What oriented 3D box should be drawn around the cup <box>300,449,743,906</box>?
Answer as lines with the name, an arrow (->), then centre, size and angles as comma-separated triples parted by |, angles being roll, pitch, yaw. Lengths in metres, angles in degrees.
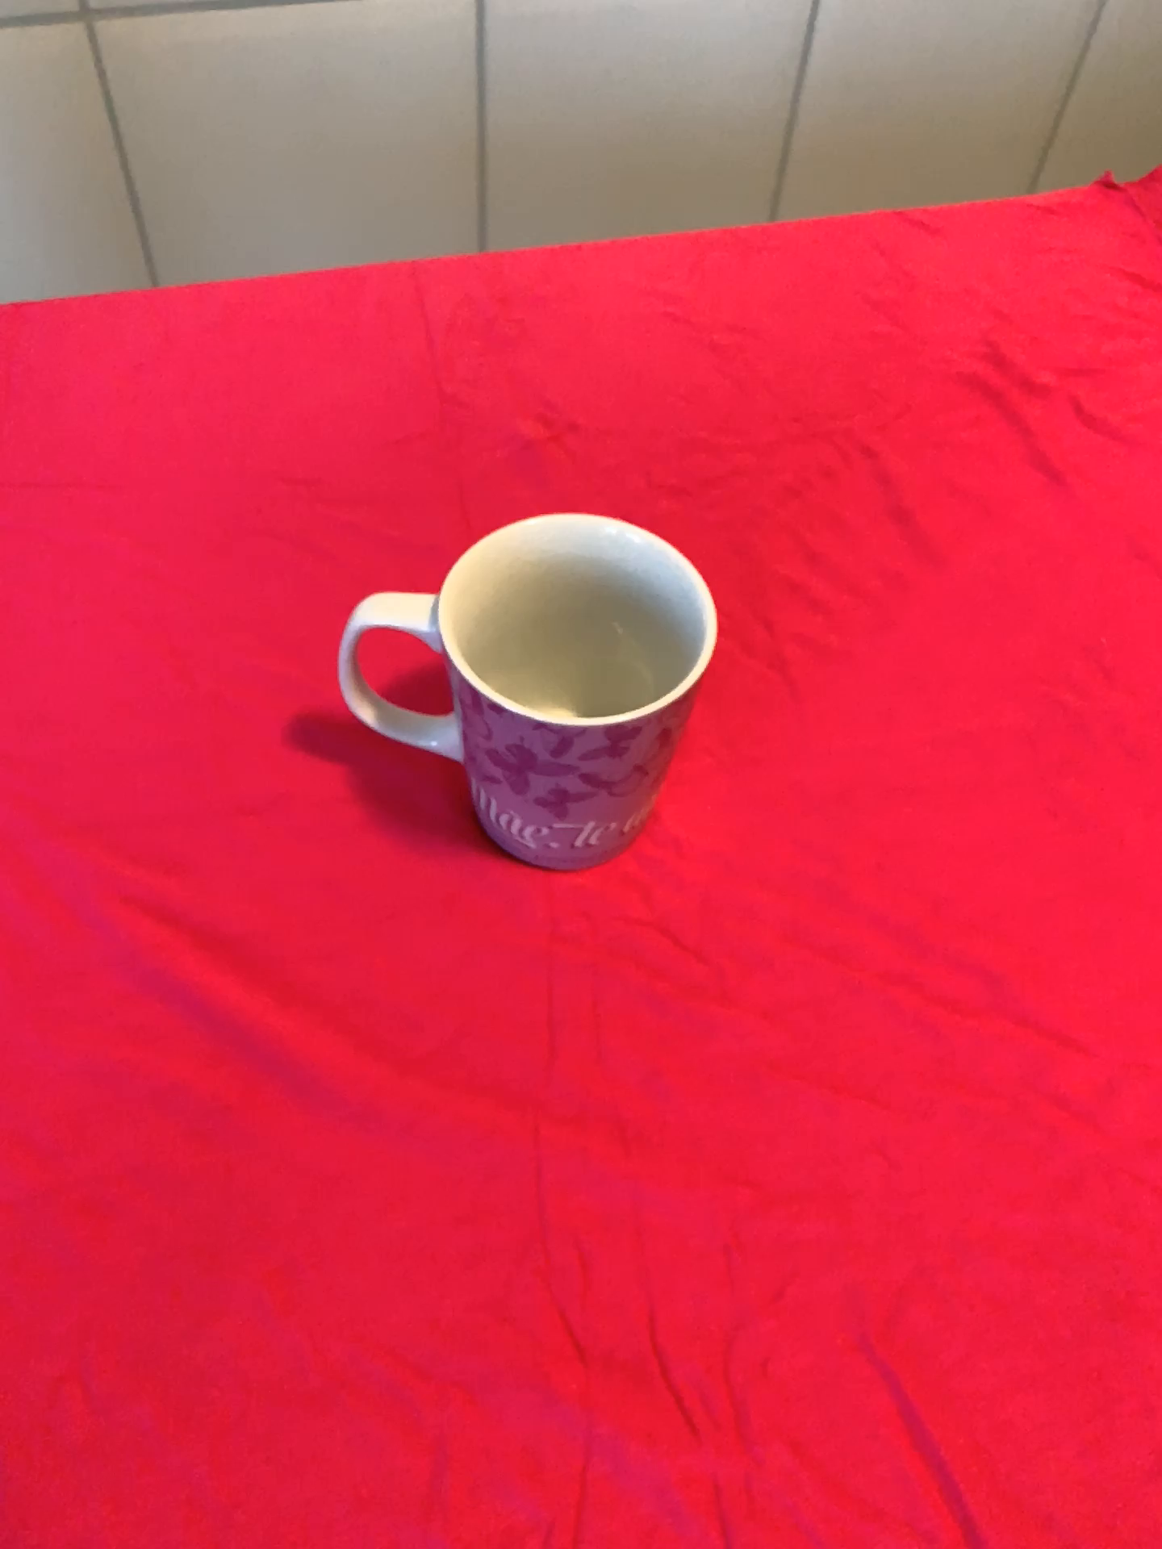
cup -> -0.017, -0.028, 0.379 | 0.110, 0.100, 0.080 | 11, 55, 2
